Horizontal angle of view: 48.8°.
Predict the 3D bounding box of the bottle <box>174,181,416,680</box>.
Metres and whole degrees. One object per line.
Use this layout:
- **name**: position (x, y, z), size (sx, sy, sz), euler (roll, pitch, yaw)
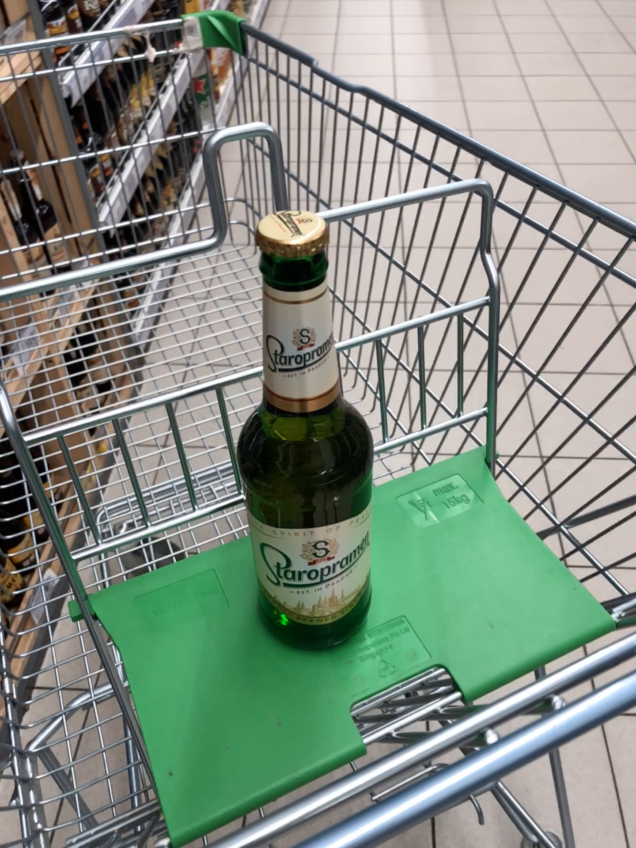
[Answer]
- **bottle**: position (-0.007, 0.021, 0.330), size (0.070, 0.239, 0.070), euler (-2, 43, 1)
